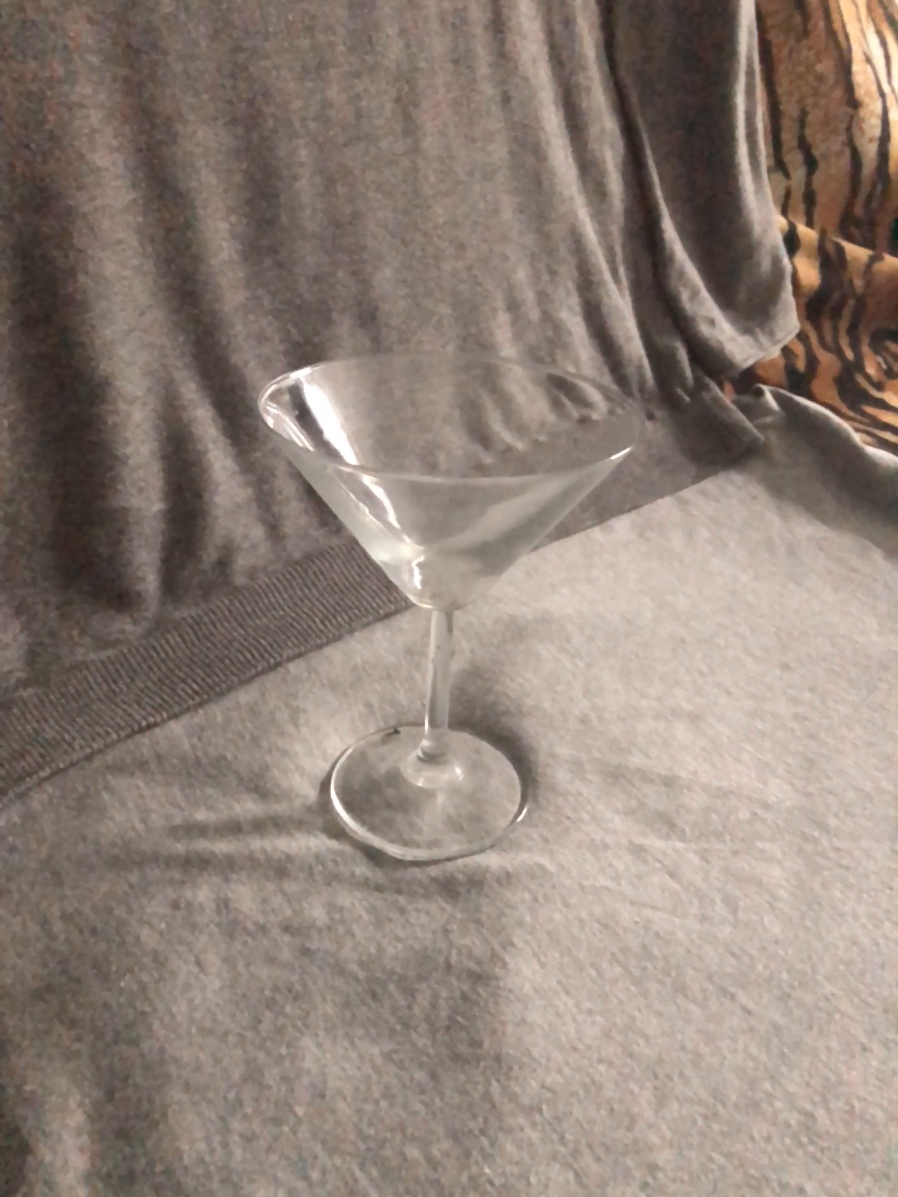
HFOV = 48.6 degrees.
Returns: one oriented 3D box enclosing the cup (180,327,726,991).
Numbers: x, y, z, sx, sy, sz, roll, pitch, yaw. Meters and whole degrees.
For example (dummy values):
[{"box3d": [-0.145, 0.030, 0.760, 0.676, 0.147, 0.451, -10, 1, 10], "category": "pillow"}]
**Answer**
[{"box3d": [-0.008, 0.009, 0.324, 0.114, 0.157, 0.112, 6, 29, -3], "category": "cup"}]
